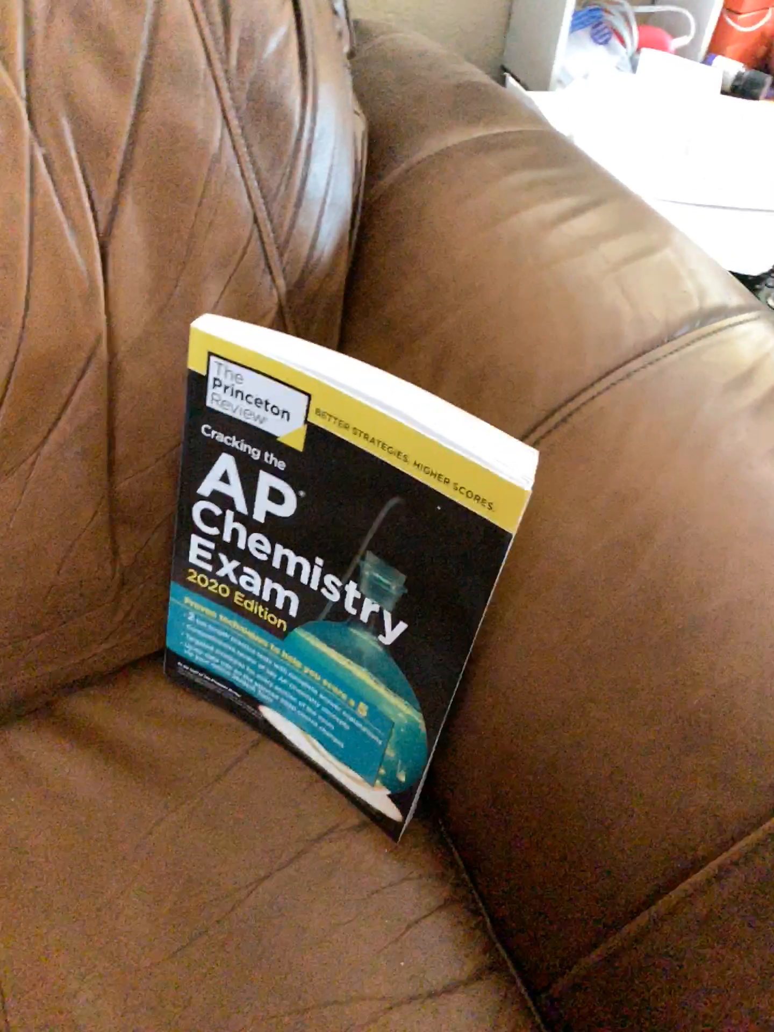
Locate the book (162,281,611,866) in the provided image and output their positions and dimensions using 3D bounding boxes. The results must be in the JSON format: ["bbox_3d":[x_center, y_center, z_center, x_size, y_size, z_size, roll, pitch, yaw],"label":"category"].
[{"bbox_3d":[-0.035,0.054,0.492,0.240,0.319,0.040,29,42,18],"label":"book"}]
